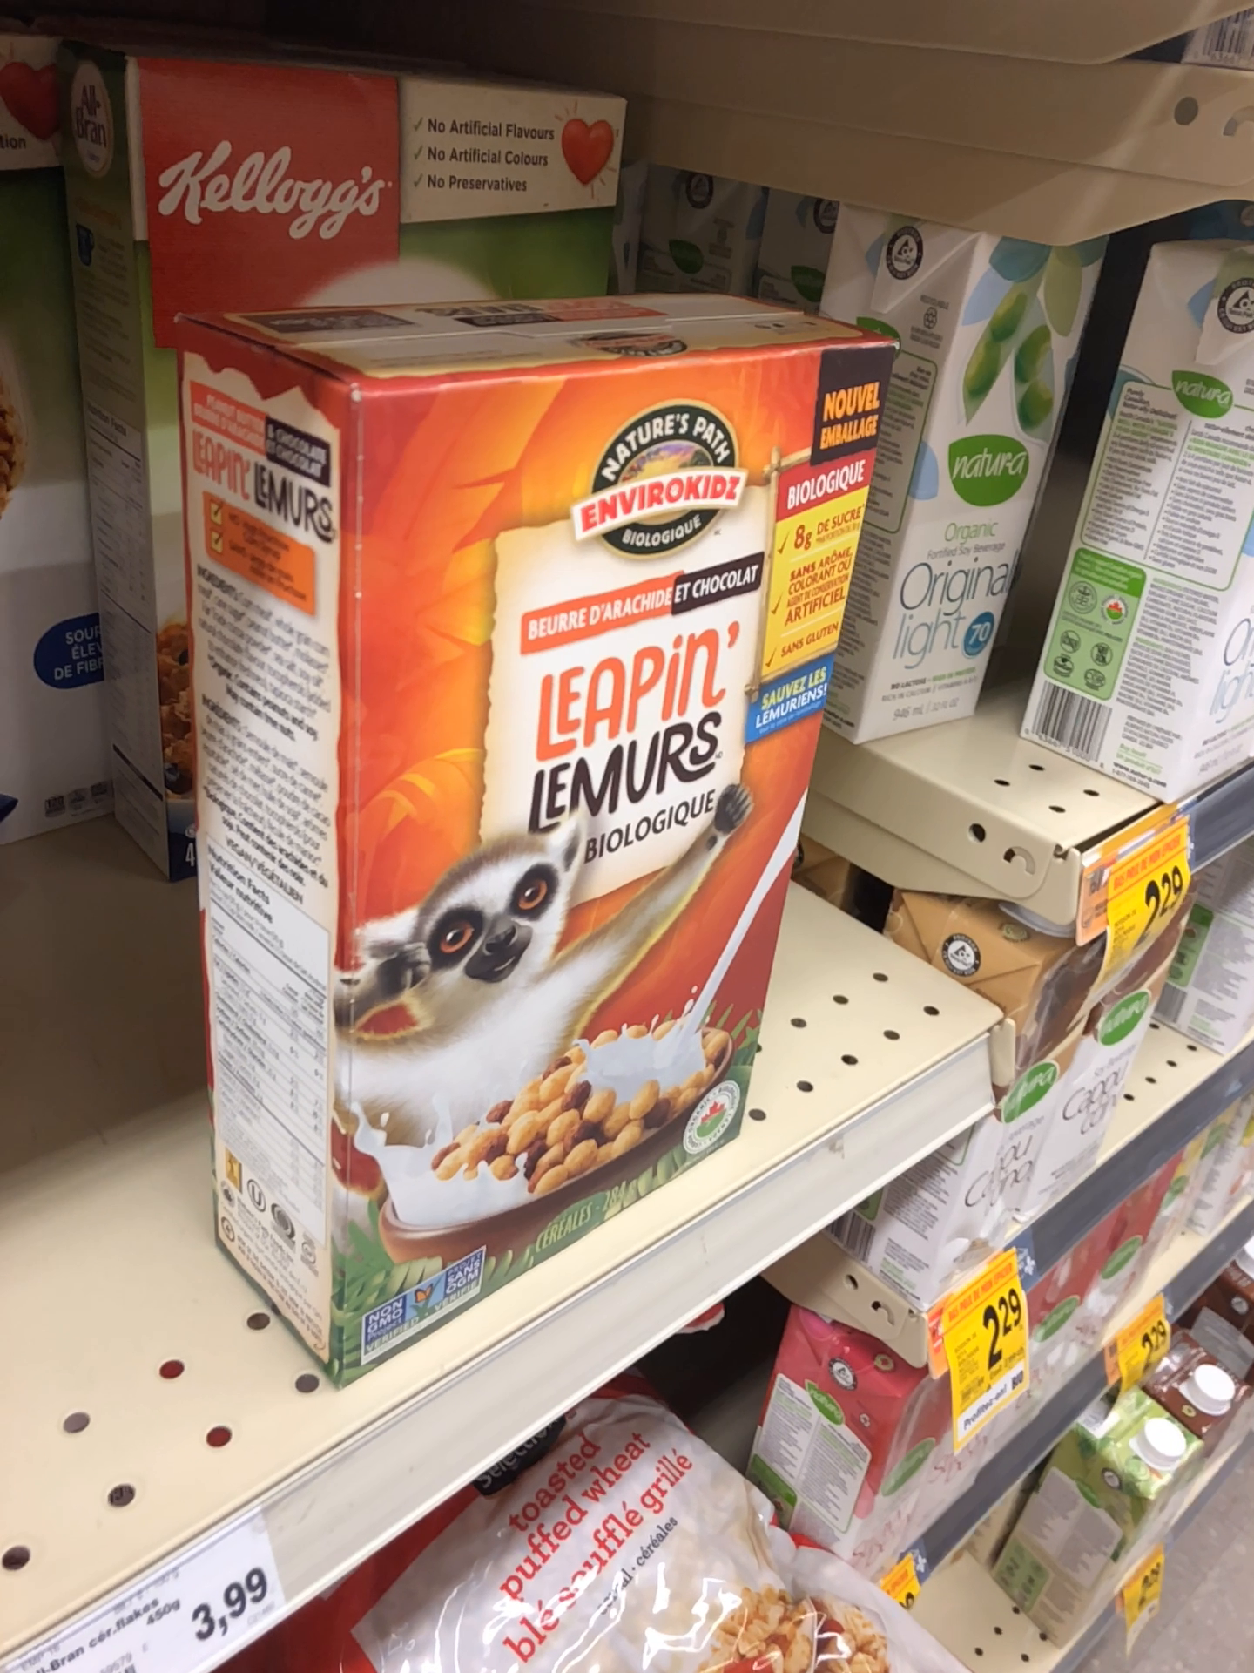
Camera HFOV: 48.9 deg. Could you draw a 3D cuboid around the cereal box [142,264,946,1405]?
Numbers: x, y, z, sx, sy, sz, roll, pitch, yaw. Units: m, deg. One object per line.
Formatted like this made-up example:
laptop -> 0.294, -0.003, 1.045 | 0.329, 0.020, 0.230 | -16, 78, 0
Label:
cereal box -> -0.023, -0.005, 0.363 | 0.171, 0.258, 0.070 | -21, 41, -40
